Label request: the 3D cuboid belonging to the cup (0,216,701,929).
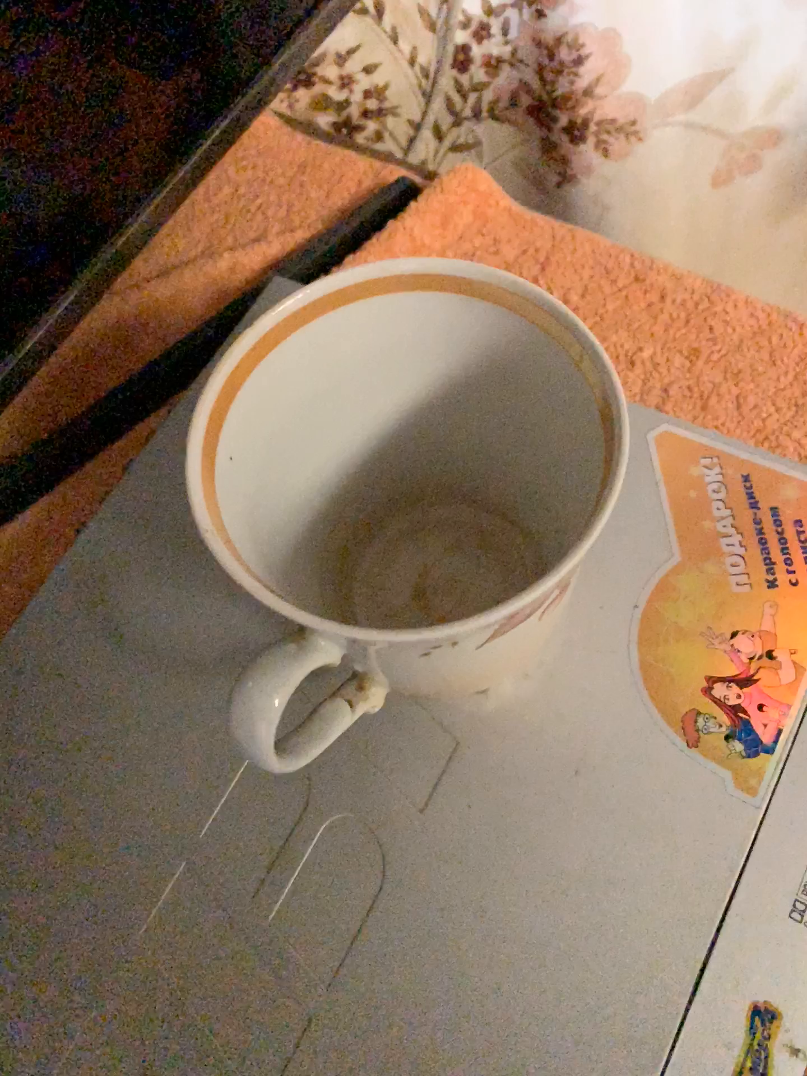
[{"bbox_3d":[-0.005,0.009,0.198,0.100,0.091,0.113,20,67,18],"label":"cup"}]
